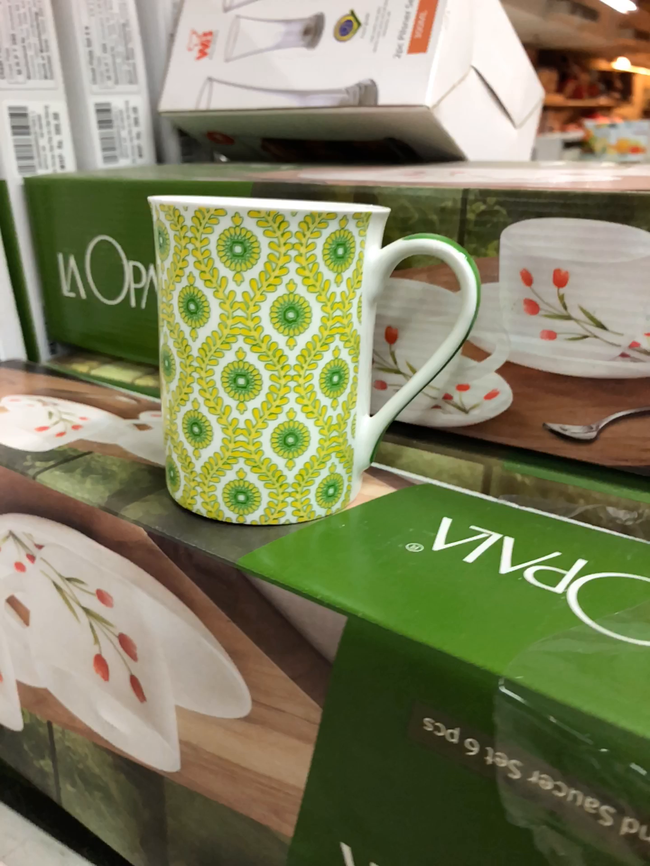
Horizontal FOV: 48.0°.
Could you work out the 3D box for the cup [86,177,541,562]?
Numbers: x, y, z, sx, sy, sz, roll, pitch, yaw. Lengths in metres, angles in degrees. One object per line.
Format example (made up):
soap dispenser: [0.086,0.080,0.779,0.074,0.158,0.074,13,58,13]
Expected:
cup: [-0.003,-0.025,0.225,0.110,0.090,0.080,6,15,5]
